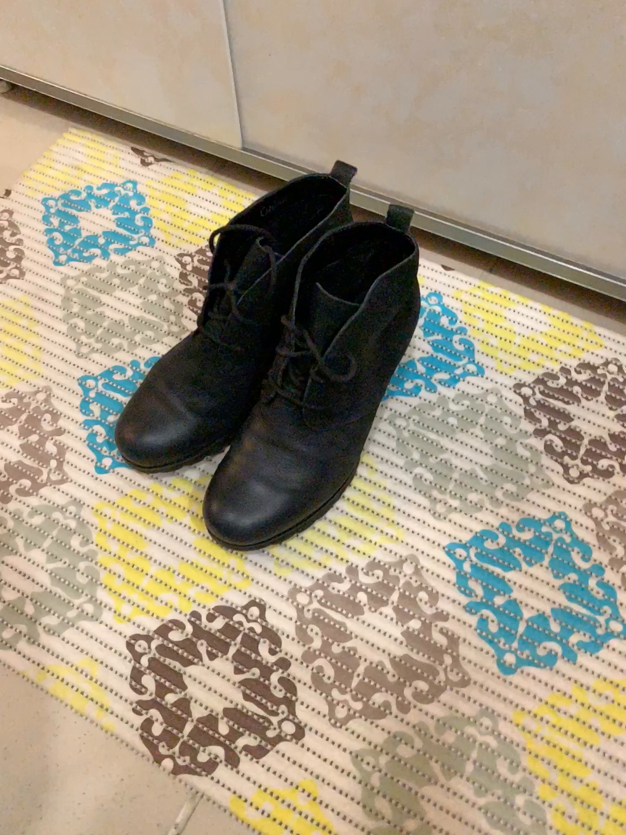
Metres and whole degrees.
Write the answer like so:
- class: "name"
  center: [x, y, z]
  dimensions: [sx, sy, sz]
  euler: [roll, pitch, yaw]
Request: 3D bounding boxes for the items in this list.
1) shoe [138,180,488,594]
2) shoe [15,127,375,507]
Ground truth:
- class: "shoe"
  center: [0.010, -0.018, 0.440]
  dimensions: [0.090, 0.150, 0.230]
  euler: [31, 67, 16]
- class: "shoe"
  center: [-0.066, -0.071, 0.473]
  dimensions: [0.090, 0.150, 0.230]
  euler: [37, 68, 19]
